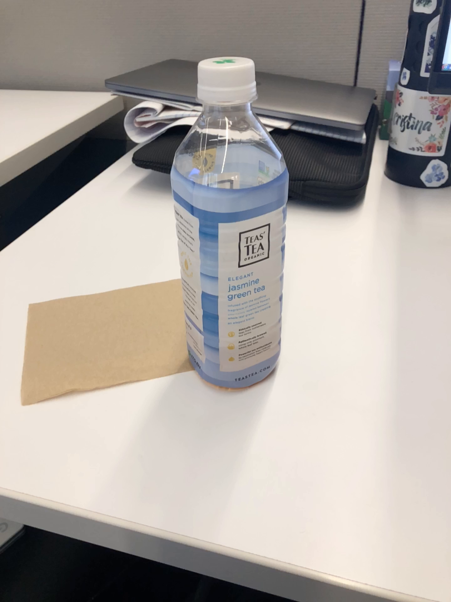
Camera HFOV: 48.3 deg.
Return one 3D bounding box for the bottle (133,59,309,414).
[{"bbox_3d":[-0.001,-0.036,0.329,0.070,0.209,0.070,-2,33,1],"label":"bottle"}]
